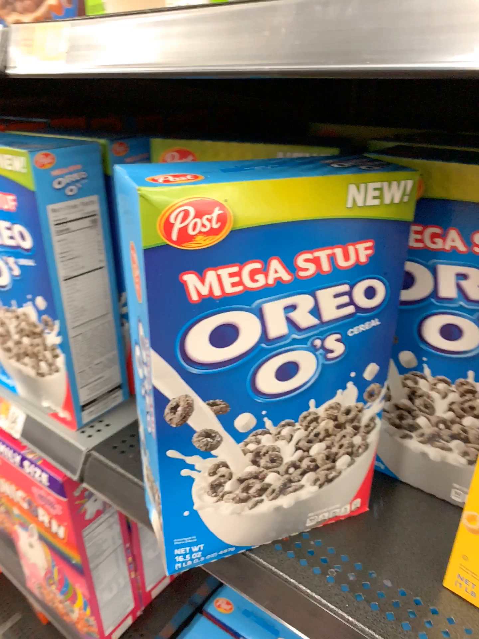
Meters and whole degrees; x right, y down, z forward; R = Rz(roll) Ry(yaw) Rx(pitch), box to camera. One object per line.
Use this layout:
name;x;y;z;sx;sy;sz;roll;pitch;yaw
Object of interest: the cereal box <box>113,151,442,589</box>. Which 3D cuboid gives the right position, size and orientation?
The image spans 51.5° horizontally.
cereal box;0.026;0.042;0.411;0.210;0.328;0.080;-10;27;-20
